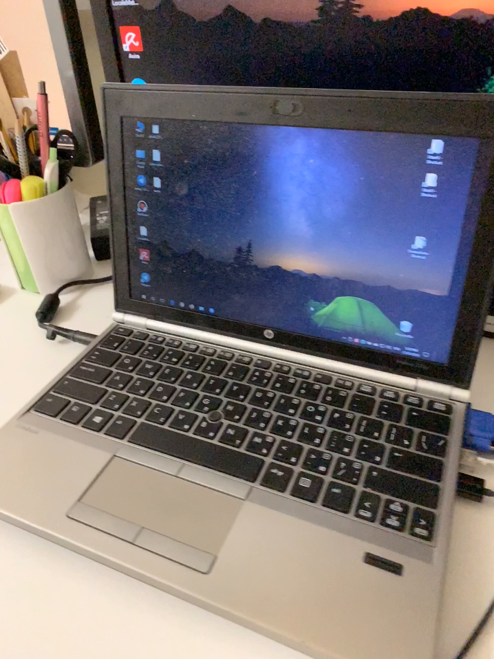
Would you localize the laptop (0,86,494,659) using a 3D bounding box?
[{"bbox_3d":[-0.016,-0.014,0.288,0.284,0.176,0.227,12,39,21],"label":"laptop"}]
